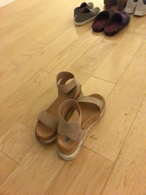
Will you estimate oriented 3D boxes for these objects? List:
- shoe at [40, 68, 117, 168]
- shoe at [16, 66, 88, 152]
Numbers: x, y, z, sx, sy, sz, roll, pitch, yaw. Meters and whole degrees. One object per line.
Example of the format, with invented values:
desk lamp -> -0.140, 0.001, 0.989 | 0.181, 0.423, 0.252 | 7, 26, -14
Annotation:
shoe -> 0.037, 0.051, 0.526 | 0.100, 0.139, 0.292 | 21, 53, 24
shoe -> -0.050, 0.029, 0.554 | 0.100, 0.139, 0.251 | 20, 53, 24
